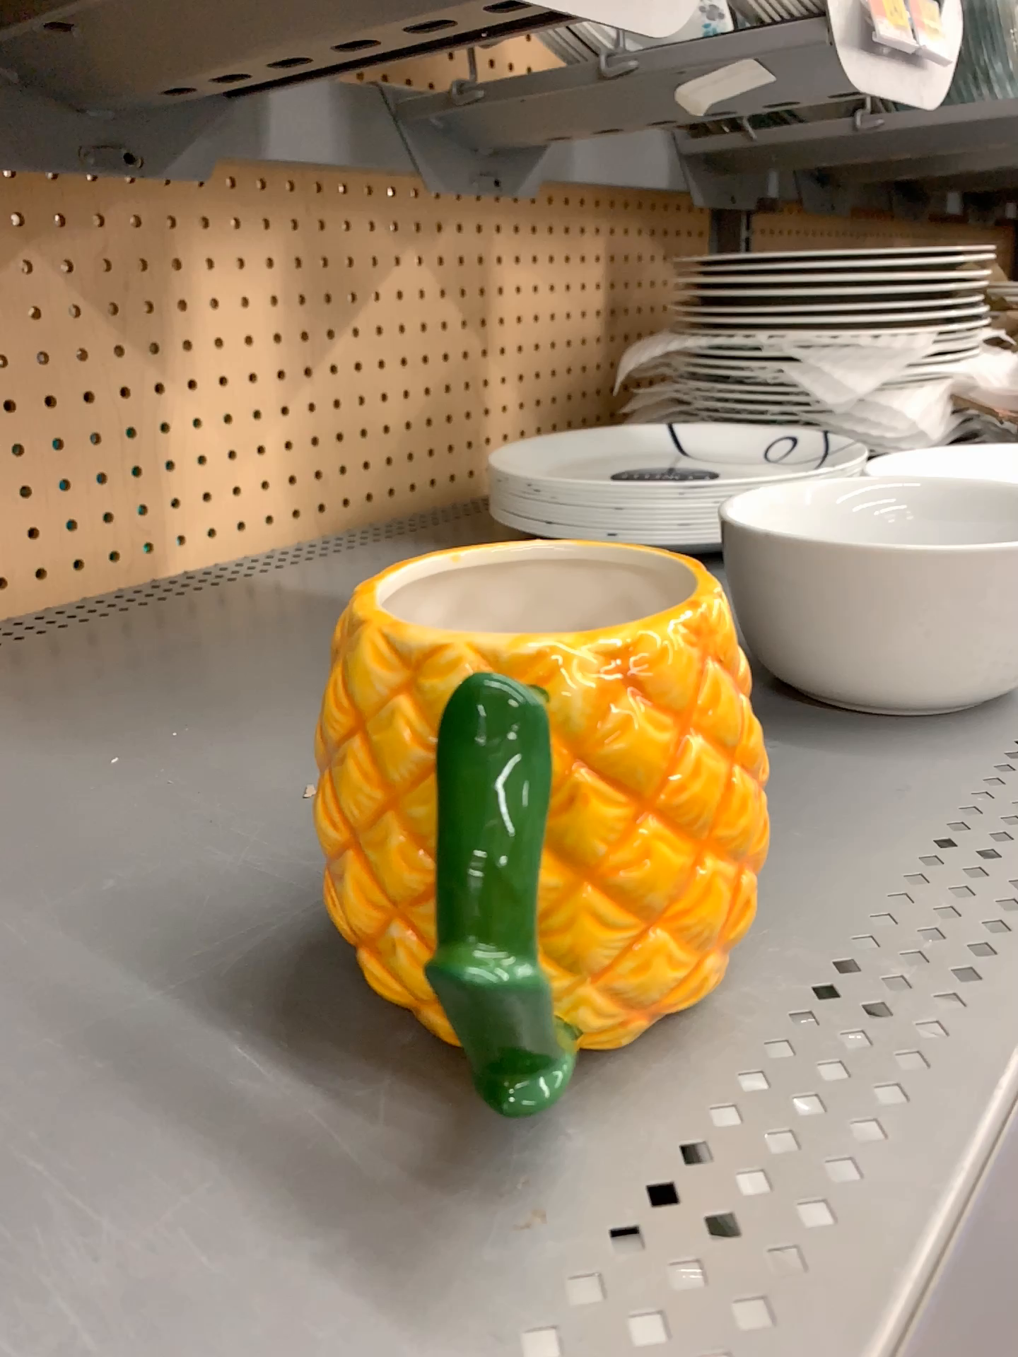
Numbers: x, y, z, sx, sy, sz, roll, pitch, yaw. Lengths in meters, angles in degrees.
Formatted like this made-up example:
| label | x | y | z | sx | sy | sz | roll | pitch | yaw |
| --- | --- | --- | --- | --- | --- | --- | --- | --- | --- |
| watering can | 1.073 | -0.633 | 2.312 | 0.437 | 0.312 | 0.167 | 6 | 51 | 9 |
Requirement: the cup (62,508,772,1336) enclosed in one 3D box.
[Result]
| label | x | y | z | sx | sy | sz | roll | pitch | yaw |
| --- | --- | --- | --- | --- | --- | --- | --- | --- | --- |
| cup | 0.003 | 0.028 | 0.236 | 0.100 | 0.100 | 0.161 | 3 | 21 | 15 |
